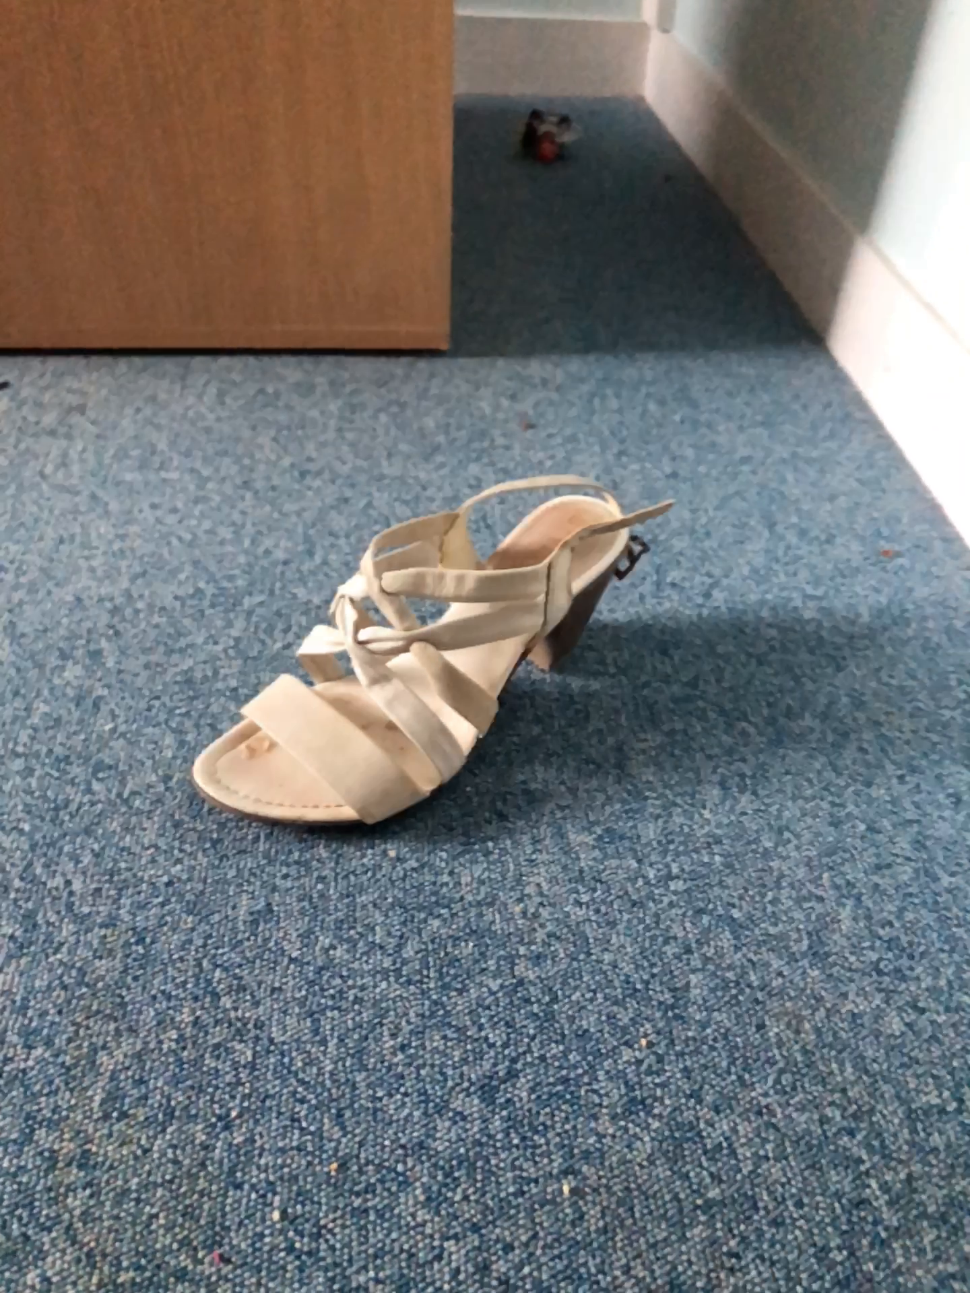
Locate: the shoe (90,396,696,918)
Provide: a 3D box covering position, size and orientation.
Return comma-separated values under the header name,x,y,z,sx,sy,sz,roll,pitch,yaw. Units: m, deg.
name,x,y,z,sx,sy,sz,roll,pitch,yaw
shoe,-0.030,-0.009,0.480,0.241,0.109,0.100,-29,50,-32
